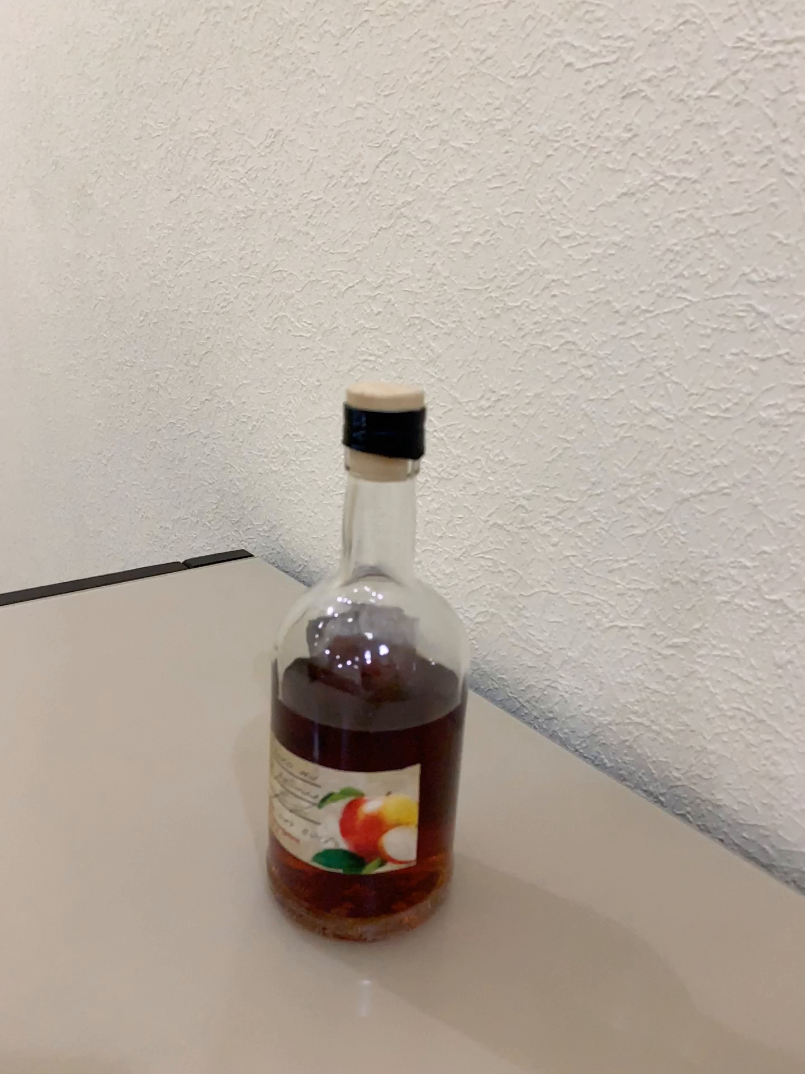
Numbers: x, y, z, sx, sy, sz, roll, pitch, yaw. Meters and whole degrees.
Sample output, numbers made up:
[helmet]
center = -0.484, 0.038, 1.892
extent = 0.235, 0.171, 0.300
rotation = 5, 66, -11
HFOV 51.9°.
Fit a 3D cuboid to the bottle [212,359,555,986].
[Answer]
[bottle]
center = -0.009, 0.043, 0.313
extent = 0.090, 0.201, 0.080
rotation = 12, 20, 25
